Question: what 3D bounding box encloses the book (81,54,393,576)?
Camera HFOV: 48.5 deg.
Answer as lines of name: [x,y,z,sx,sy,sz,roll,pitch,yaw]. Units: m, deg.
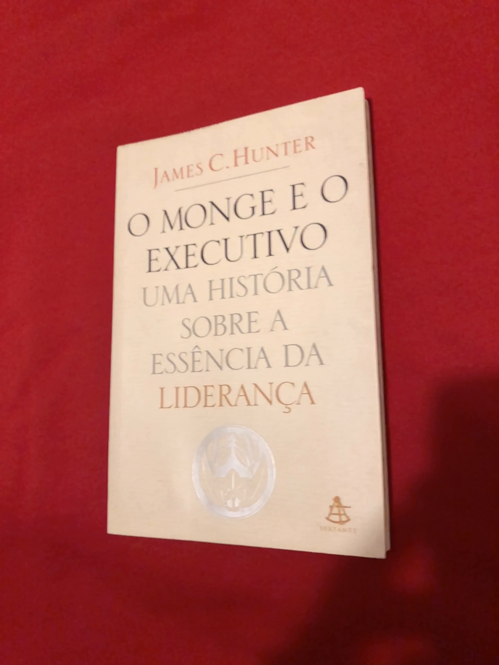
book: [-0.009,-0.010,0.269,0.140,0.030,0.220,-4,79,22]
